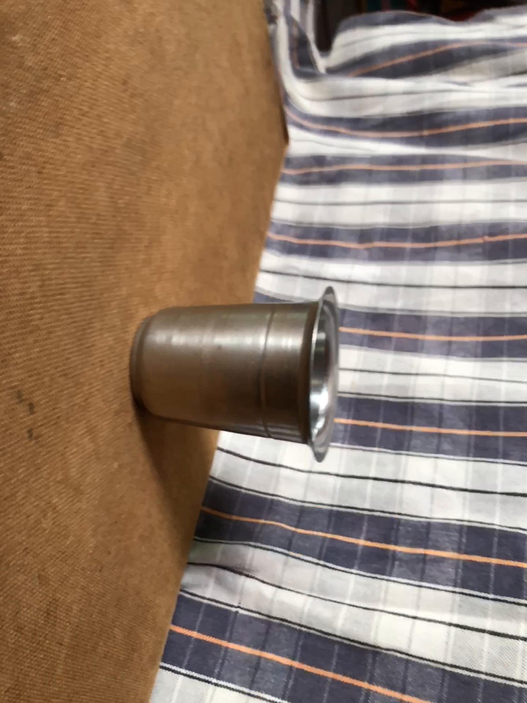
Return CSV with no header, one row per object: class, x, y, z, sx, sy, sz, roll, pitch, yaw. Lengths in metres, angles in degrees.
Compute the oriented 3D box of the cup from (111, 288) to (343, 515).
cup,-0.009,0.018,0.265,0.070,0.080,0.070,3,90,-76
